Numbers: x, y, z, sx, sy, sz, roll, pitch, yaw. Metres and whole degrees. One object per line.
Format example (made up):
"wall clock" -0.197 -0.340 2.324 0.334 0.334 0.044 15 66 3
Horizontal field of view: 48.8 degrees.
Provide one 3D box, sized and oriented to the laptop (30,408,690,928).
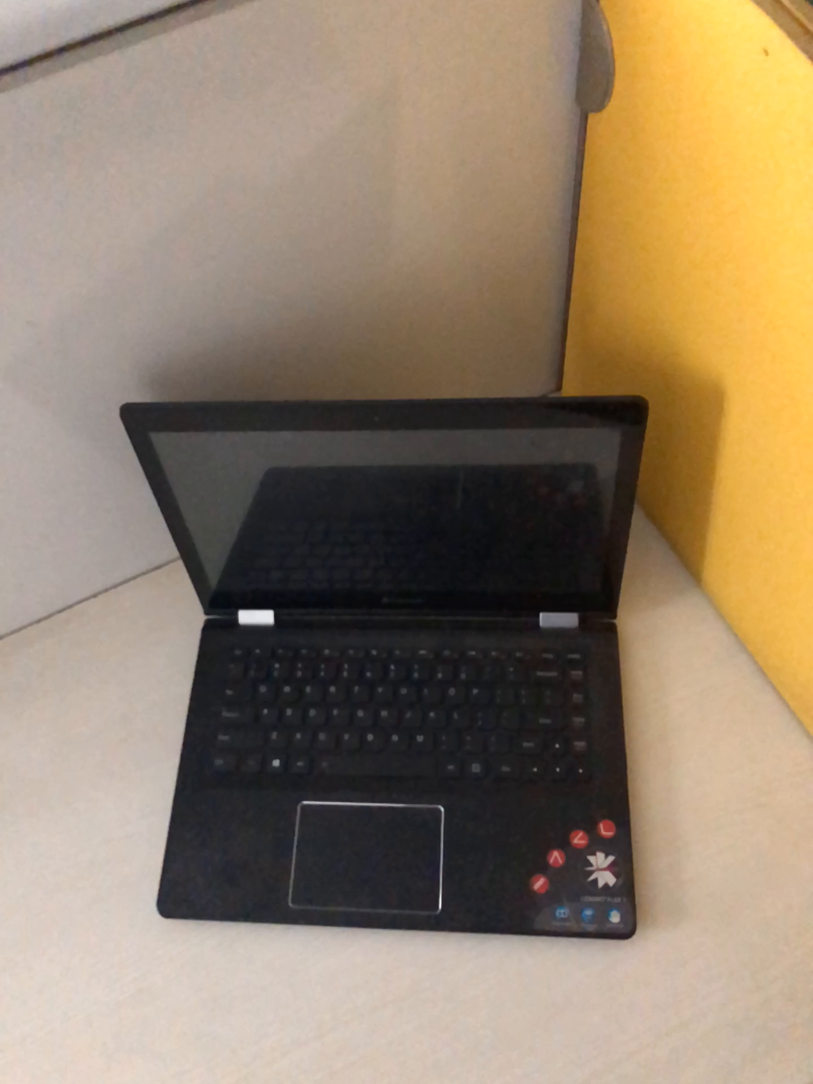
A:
"laptop" -0.012 0.087 0.581 0.311 0.226 0.264 0 61 6
